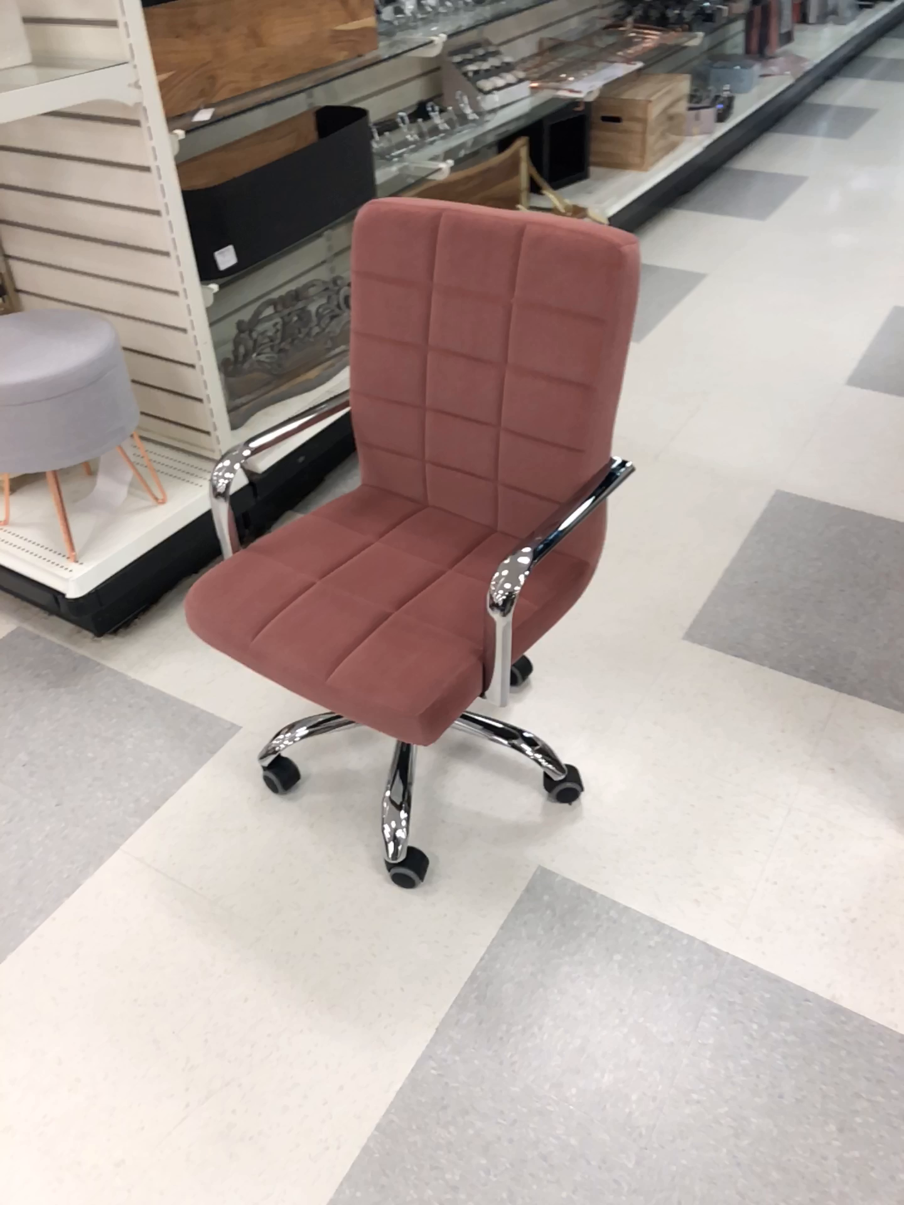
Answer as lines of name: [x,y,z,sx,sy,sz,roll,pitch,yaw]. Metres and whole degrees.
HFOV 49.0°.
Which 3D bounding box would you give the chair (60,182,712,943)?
chair: [-0.048,-0.081,1.467,0.575,0.819,0.564,21,45,28]
